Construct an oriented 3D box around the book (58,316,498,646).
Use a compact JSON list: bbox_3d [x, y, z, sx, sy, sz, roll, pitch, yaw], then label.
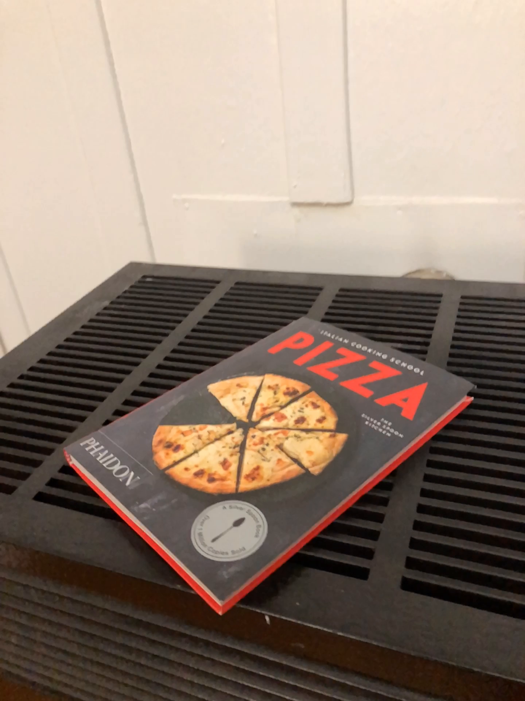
[{"bbox_3d":[0.012,0.053,0.386,0.231,0.020,0.181,-29,36,-33],"label":"book"}]
